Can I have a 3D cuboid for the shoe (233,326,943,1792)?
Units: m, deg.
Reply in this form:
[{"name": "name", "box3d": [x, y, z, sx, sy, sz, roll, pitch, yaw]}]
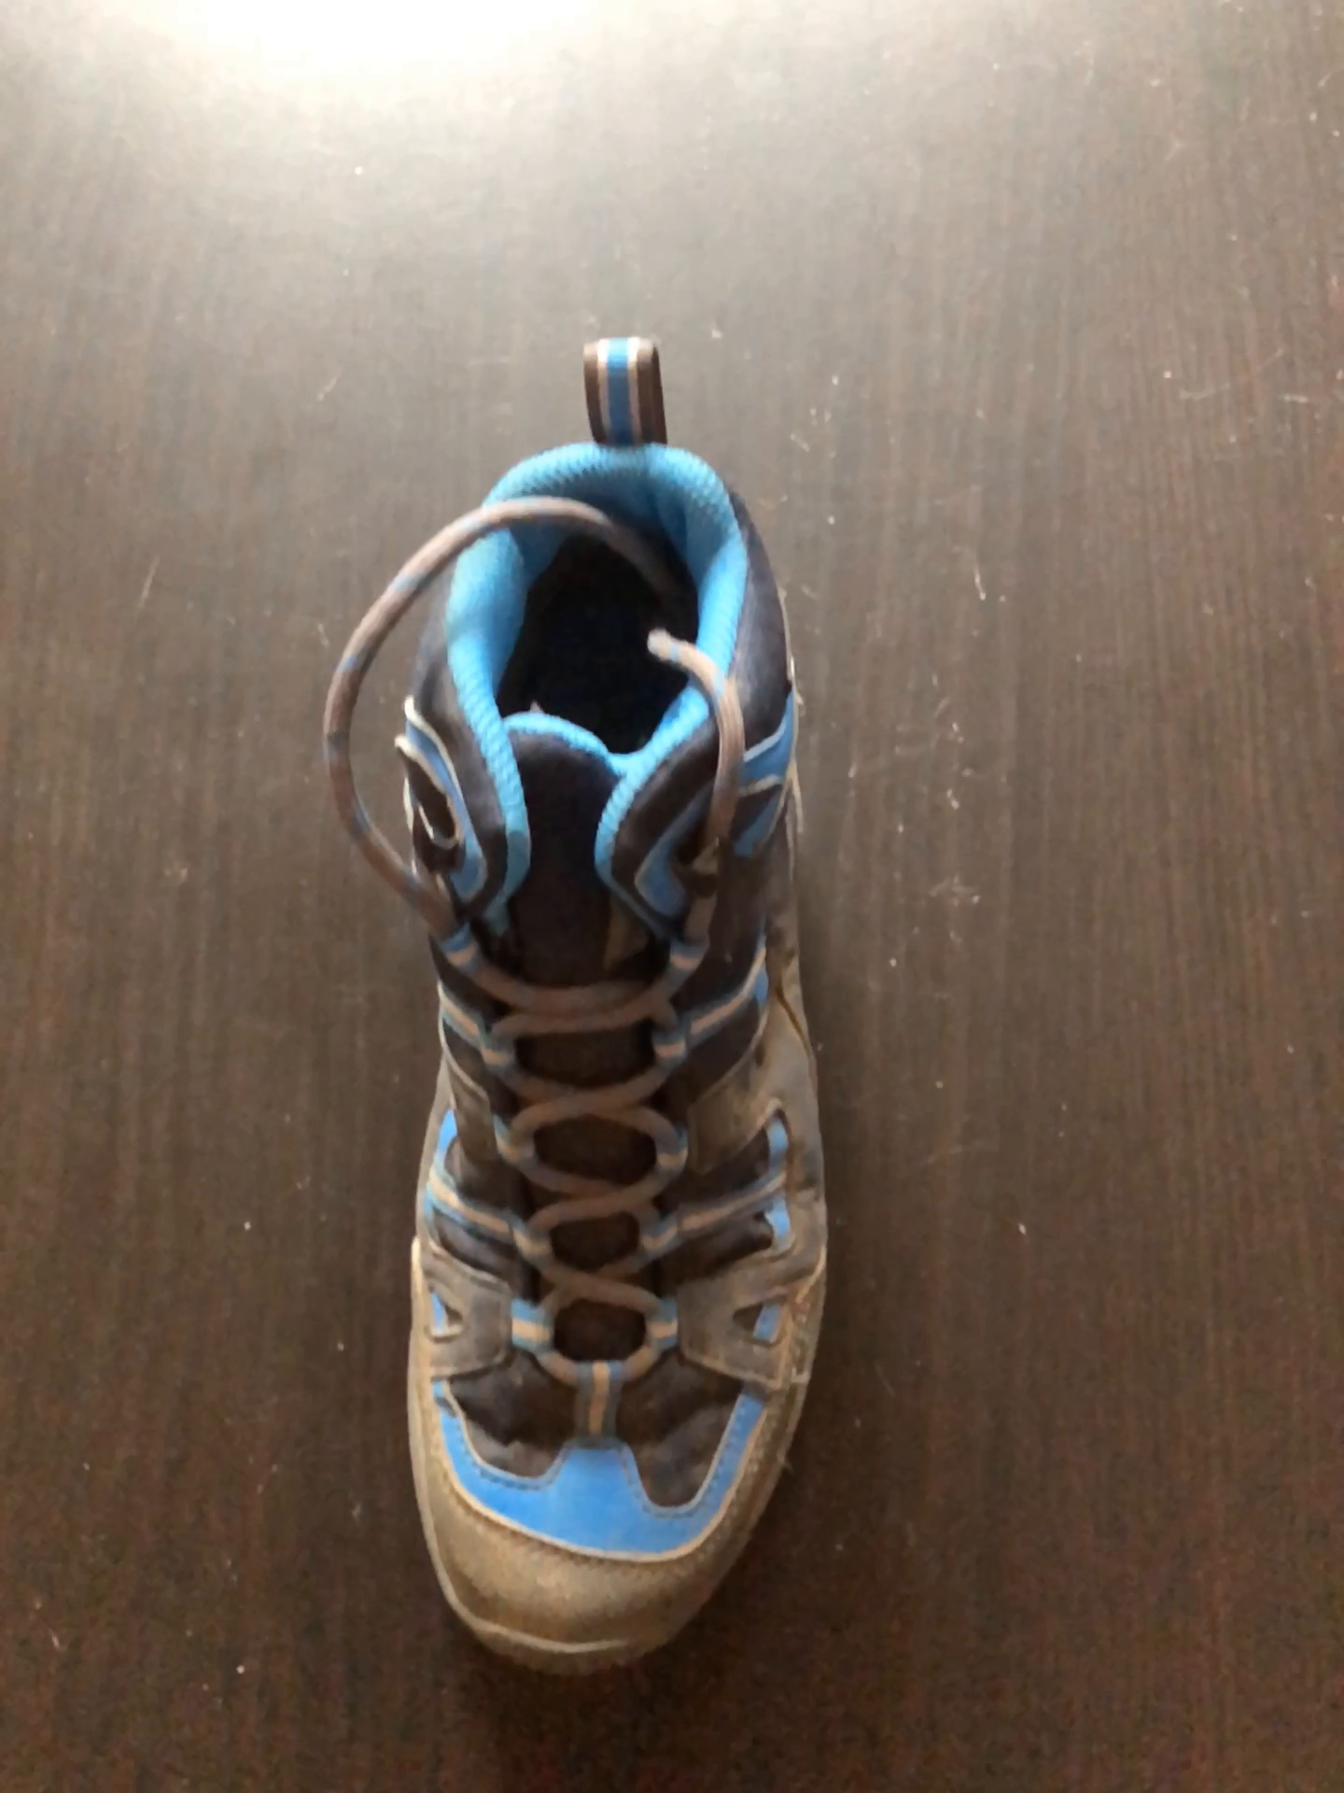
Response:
[{"name": "shoe", "box3d": [-0.008, 0.034, 0.301, 0.100, 0.120, 0.250, 3, 79, 0]}]
